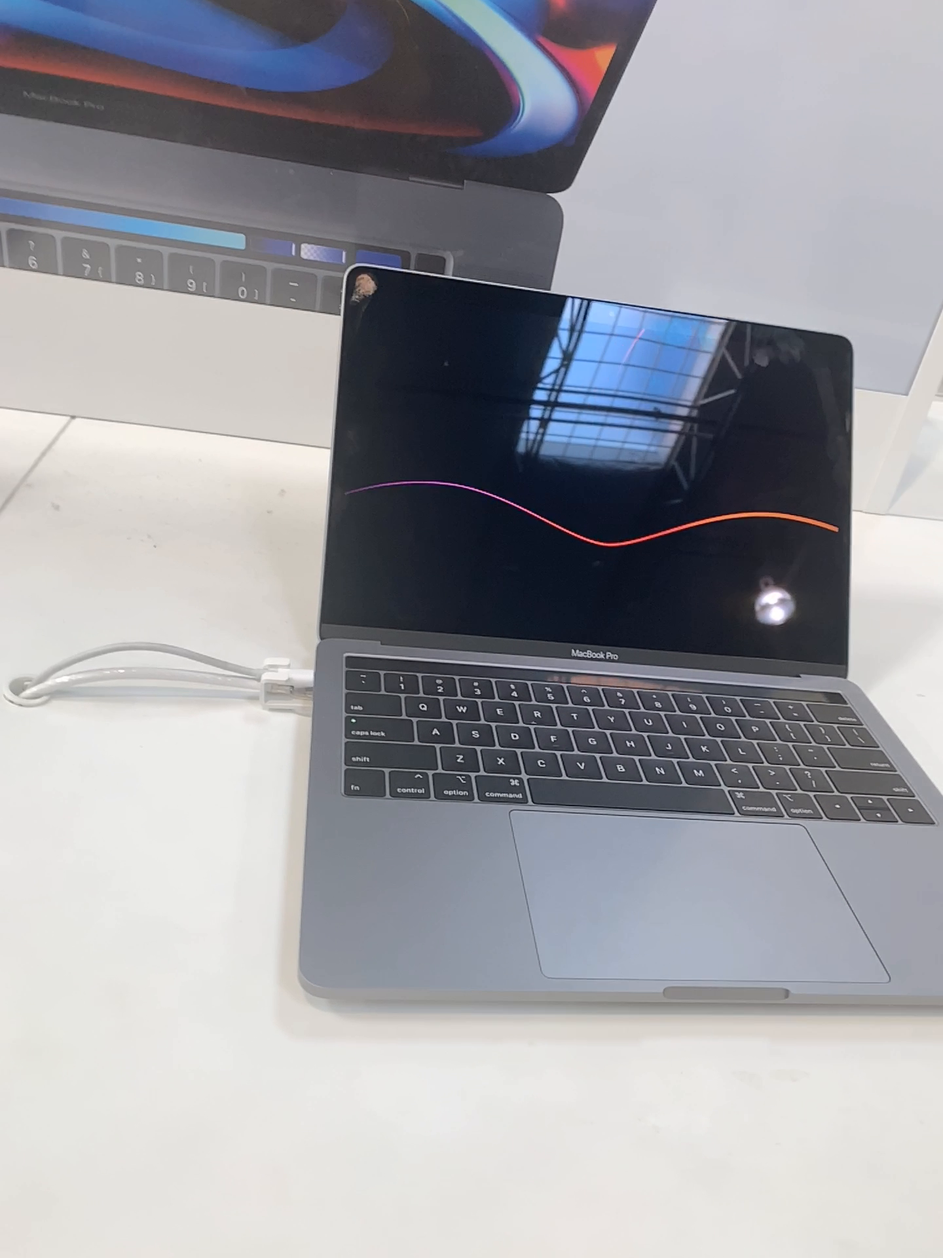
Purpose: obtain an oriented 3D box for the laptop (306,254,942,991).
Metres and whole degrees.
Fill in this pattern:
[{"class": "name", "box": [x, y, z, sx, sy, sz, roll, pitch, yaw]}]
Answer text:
[{"class": "laptop", "box": [0.083, -0.028, 0.425, 0.284, 0.150, 0.316, 5, 33, -11]}]
